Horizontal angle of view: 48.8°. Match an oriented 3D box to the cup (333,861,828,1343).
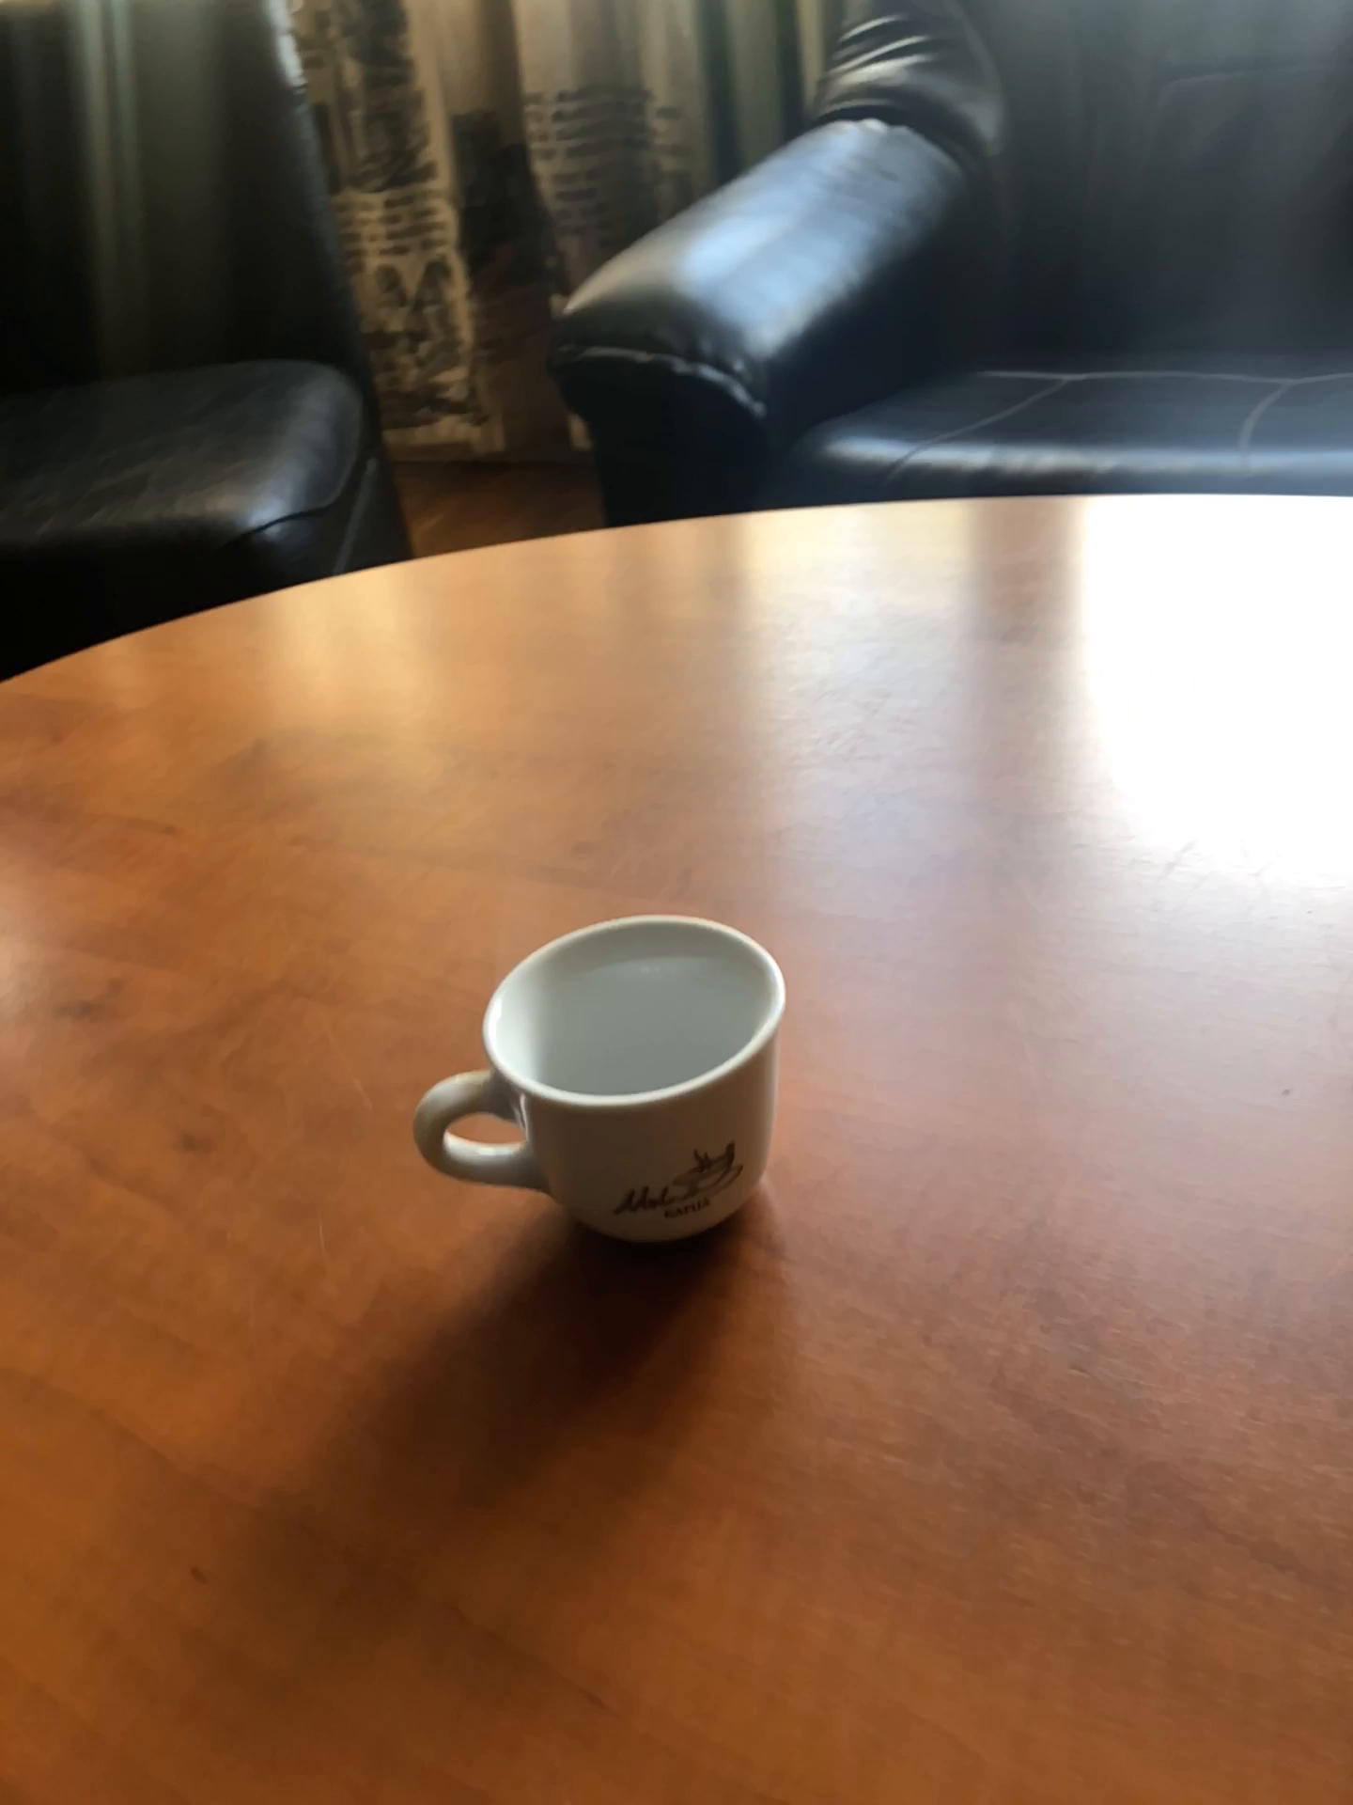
[{"bbox_3d":[-0.021,0.039,0.320,0.083,0.050,0.065,-18,34,-15],"label":"cup"}]
